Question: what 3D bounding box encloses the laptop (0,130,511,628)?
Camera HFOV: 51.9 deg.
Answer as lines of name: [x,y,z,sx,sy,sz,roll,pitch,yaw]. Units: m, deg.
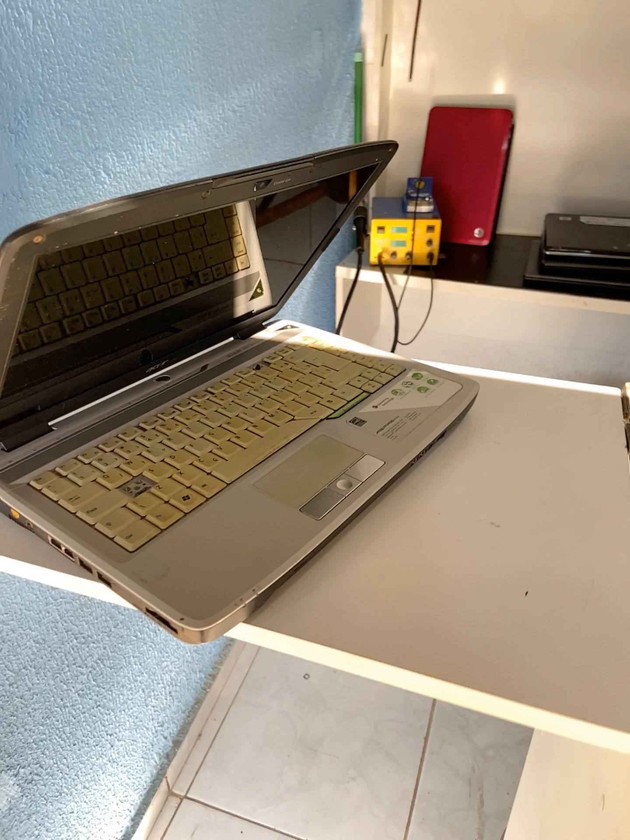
laptop: [-0.049,-0.076,0.457,0.225,0.179,0.330,22,38,31]
